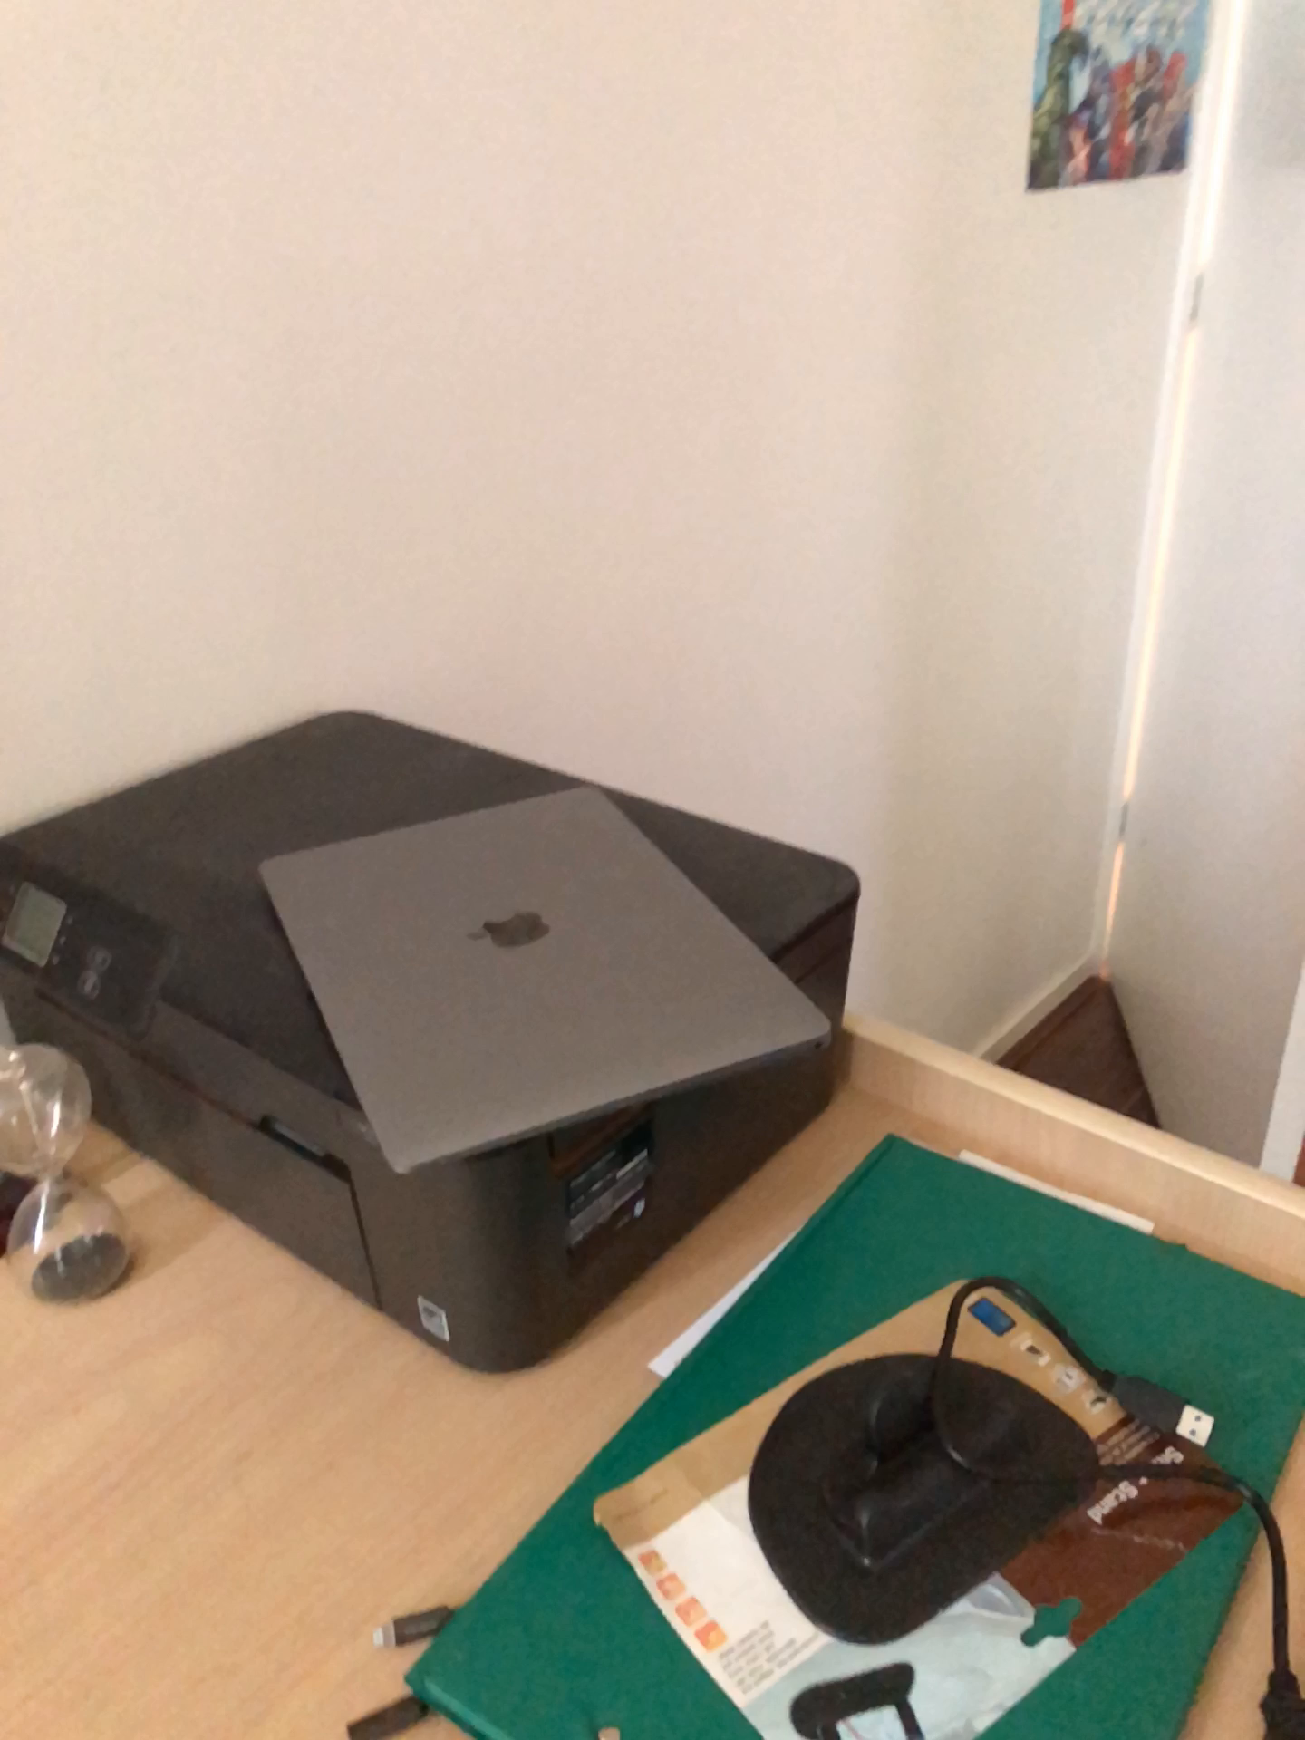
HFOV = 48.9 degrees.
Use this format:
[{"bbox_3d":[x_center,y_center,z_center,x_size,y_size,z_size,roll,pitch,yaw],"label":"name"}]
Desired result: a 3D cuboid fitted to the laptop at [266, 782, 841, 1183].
[{"bbox_3d":[-0.062,0.034,0.675,0.188,0.007,0.267,-15,32,-19],"label":"laptop"}]
